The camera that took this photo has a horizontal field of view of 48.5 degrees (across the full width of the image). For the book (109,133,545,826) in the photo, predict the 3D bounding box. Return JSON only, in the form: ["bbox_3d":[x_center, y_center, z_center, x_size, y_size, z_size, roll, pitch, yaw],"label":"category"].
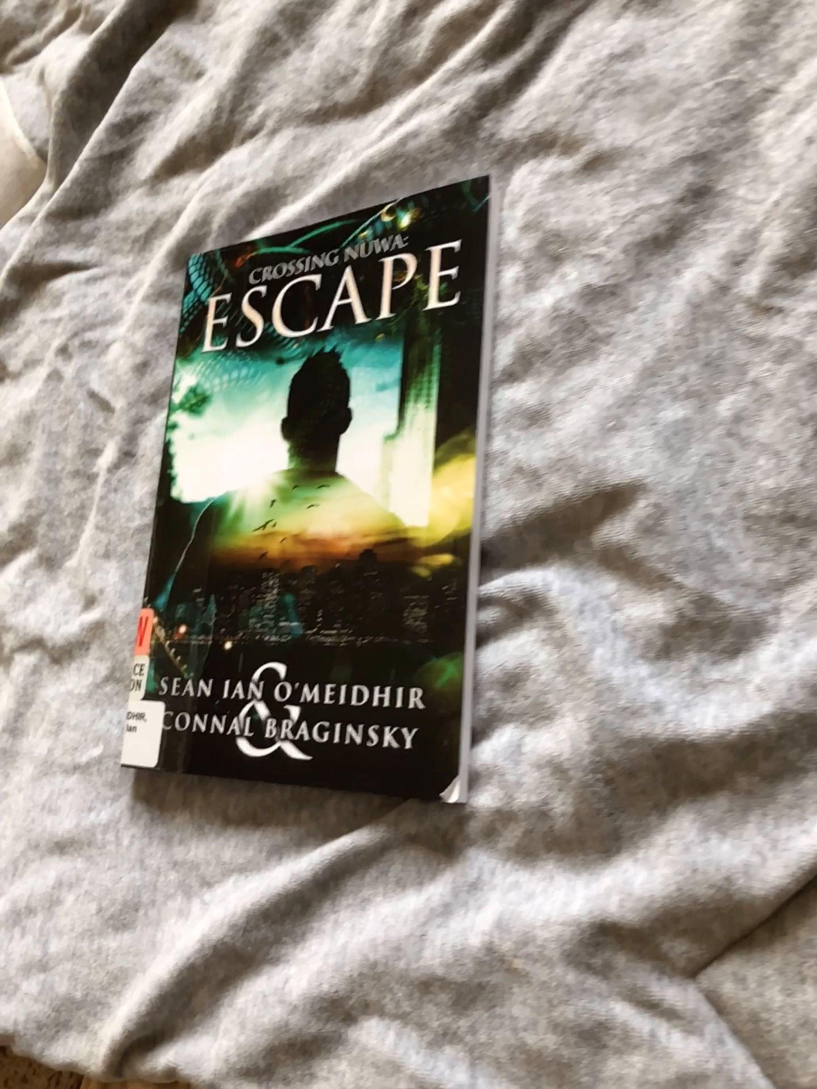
[{"bbox_3d":[-0.033,-0.027,0.366,0.161,0.030,0.250,-1,77,29],"label":"book"}]
